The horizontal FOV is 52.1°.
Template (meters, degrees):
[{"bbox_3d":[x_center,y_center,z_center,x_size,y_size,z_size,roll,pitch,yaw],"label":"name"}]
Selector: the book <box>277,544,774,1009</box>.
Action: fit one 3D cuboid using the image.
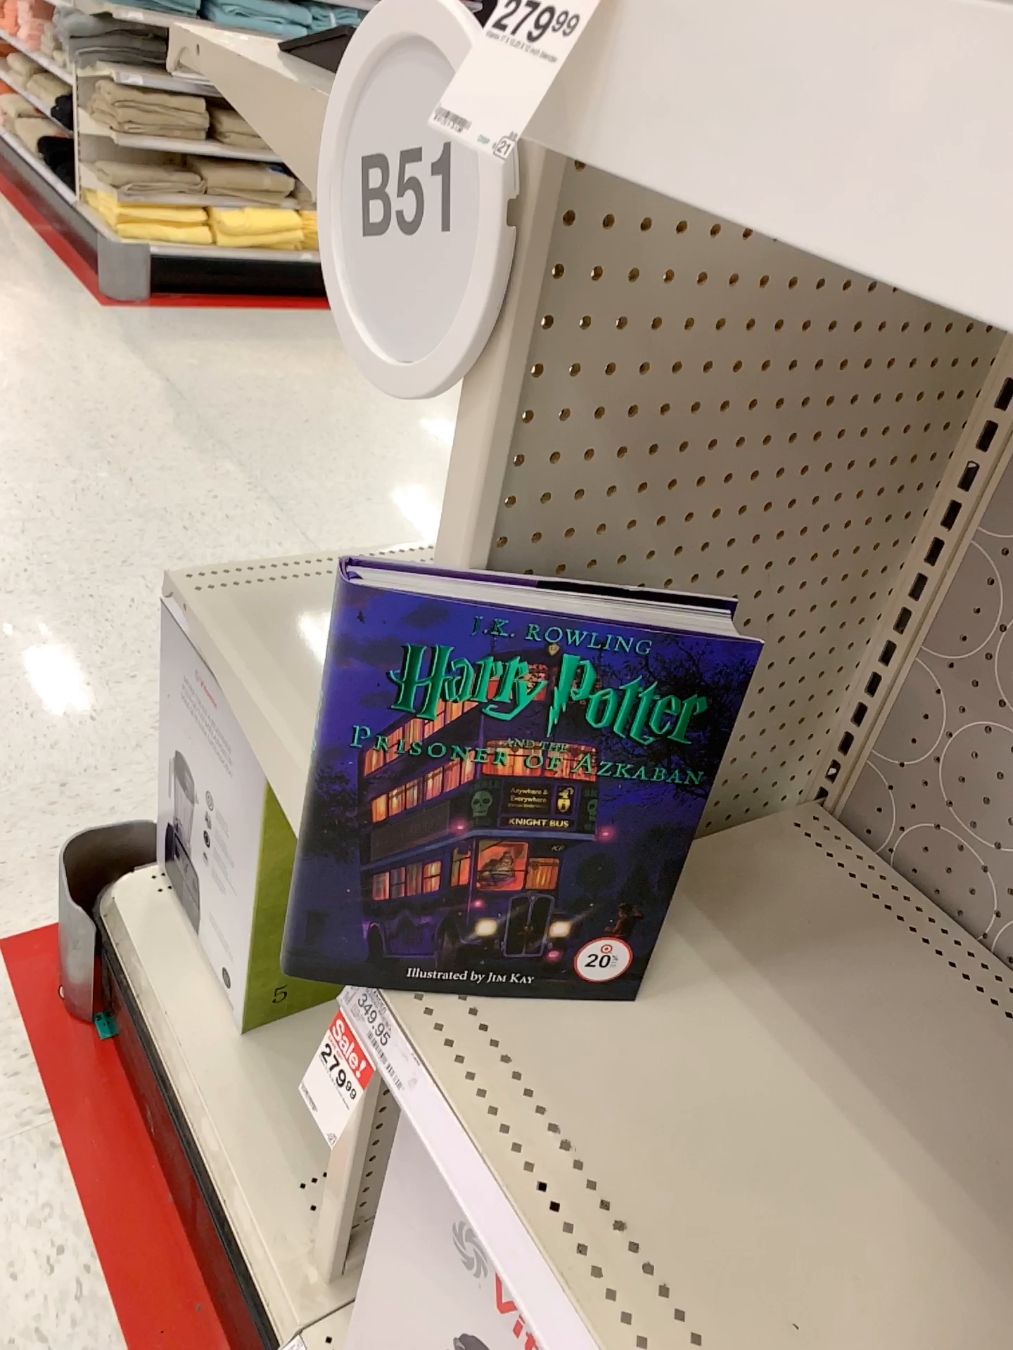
[{"bbox_3d":[-0.002,0.076,0.618,0.240,0.280,0.050,6,28,-11],"label":"book"}]
